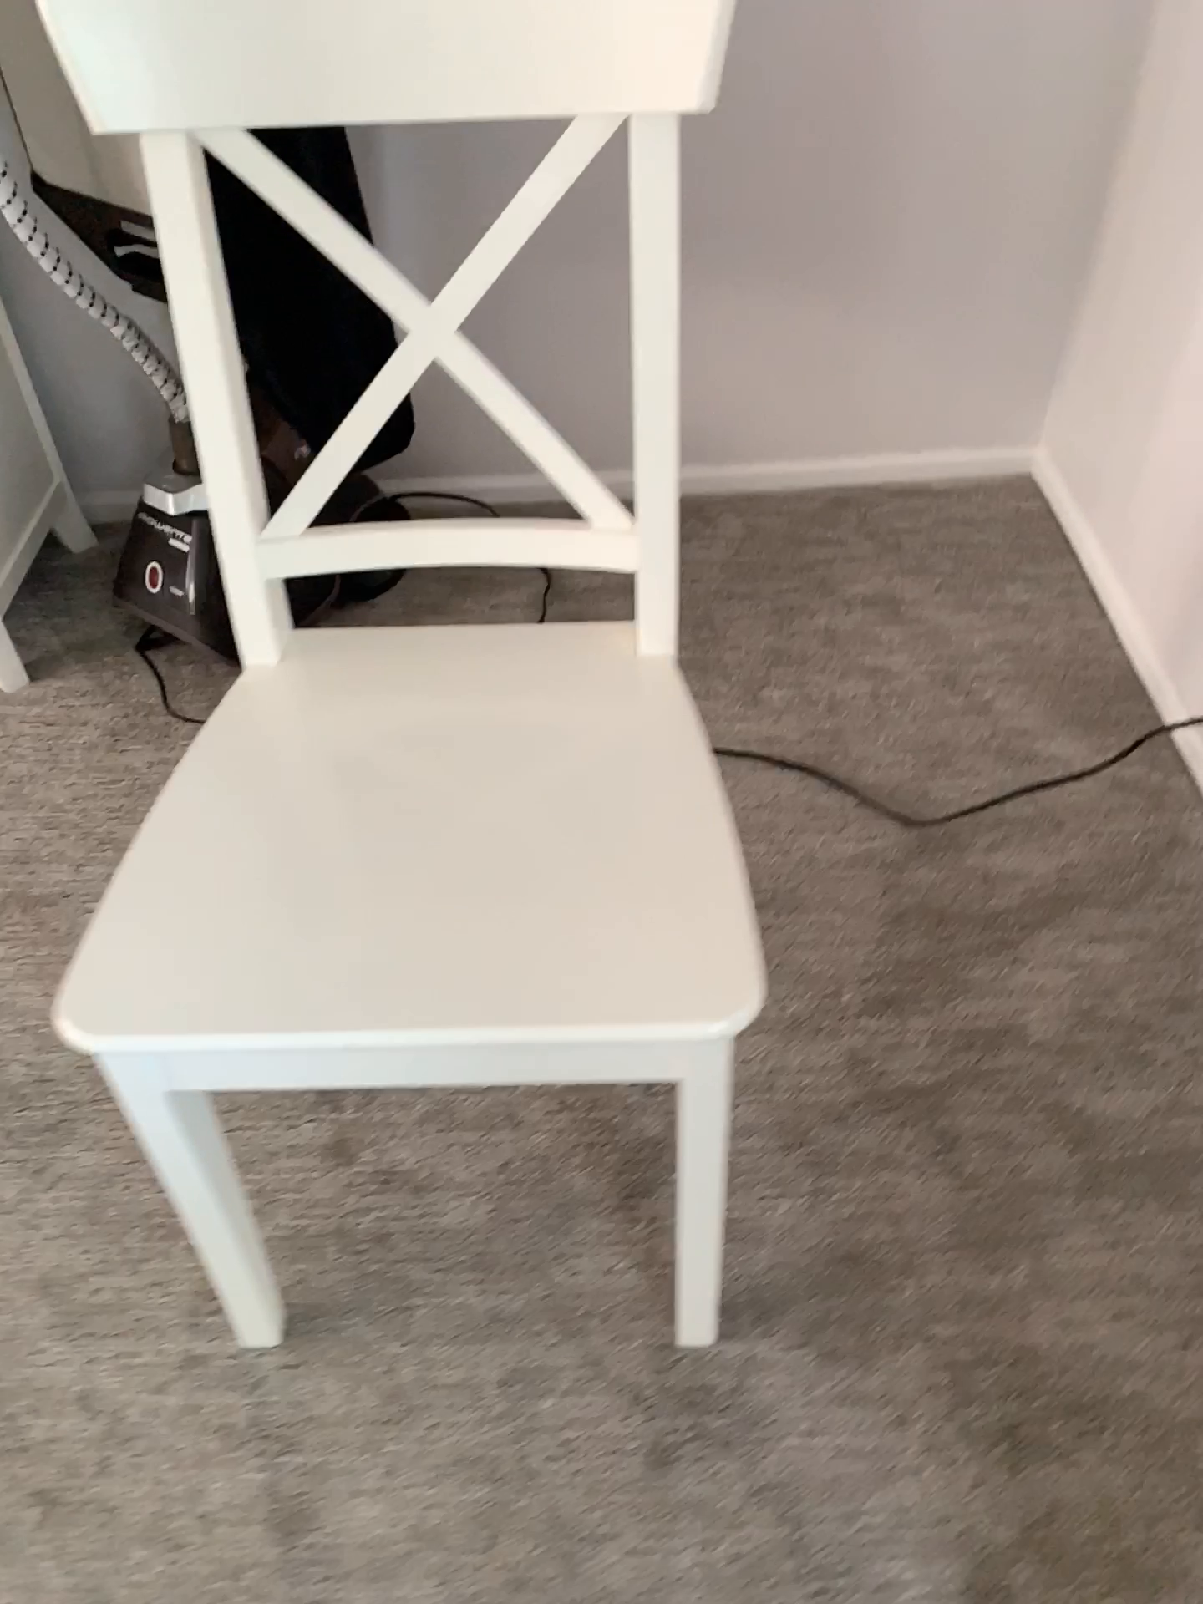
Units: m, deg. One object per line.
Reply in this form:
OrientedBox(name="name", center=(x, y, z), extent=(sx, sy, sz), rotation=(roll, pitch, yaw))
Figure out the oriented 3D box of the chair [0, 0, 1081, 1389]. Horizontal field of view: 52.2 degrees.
OrientedBox(name="chair", center=(-0.165, -0.065, 0.809), extent=(0.610, 0.765, 0.573), rotation=(-2, 44, 1))
